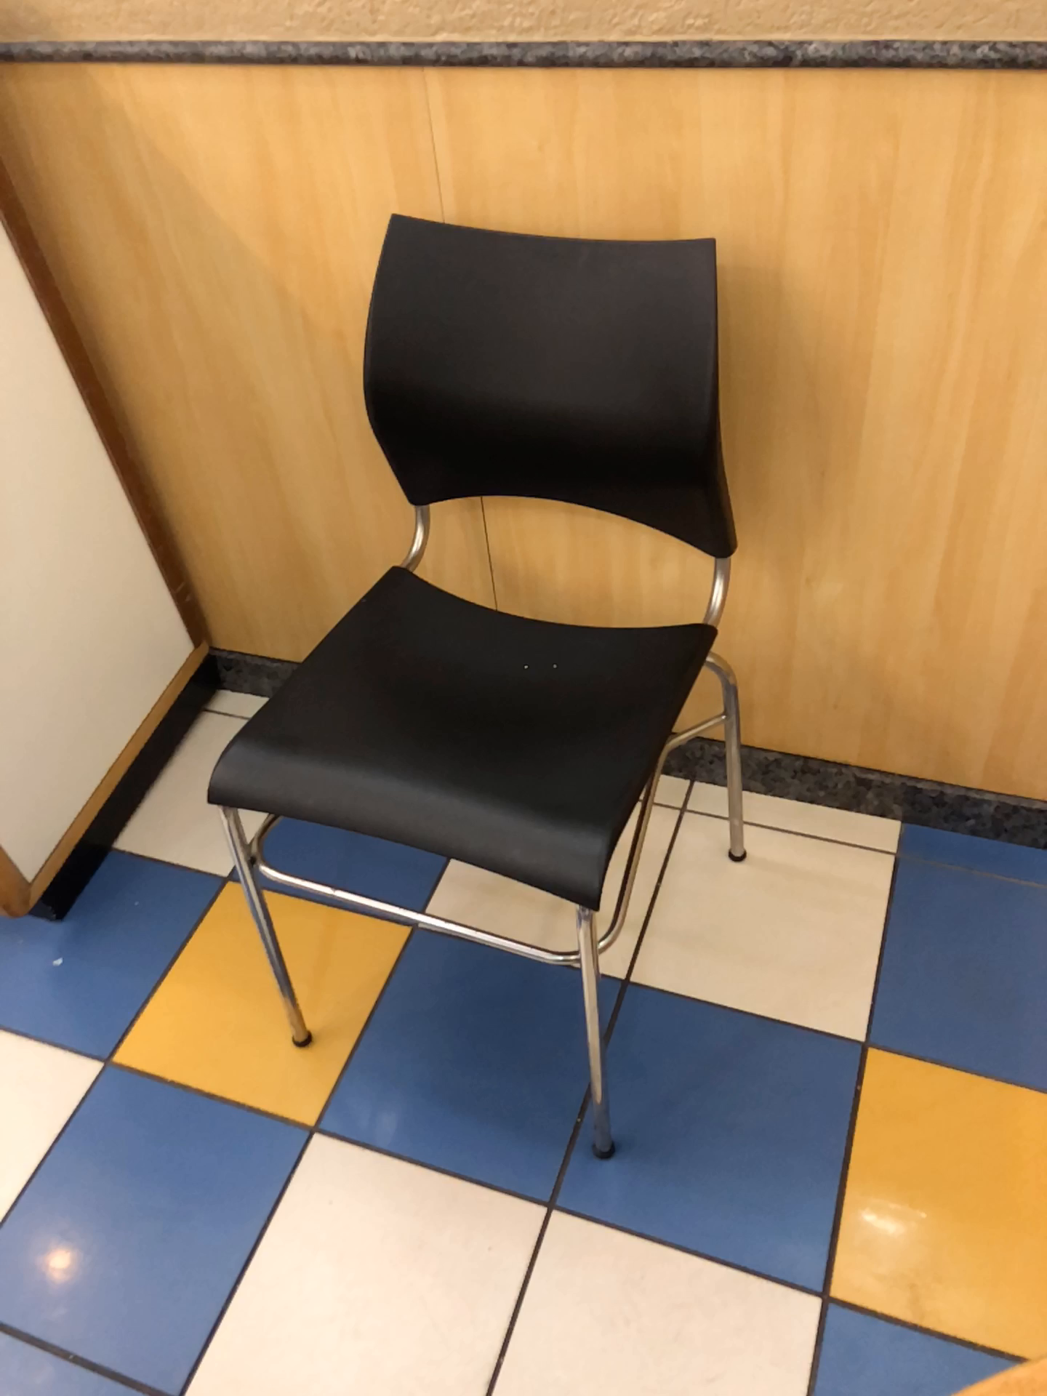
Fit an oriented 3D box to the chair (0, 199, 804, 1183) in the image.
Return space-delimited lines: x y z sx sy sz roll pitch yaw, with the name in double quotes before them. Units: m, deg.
"chair" -0.036 0.007 1.283 0.511 0.874 0.553 13 47 20
